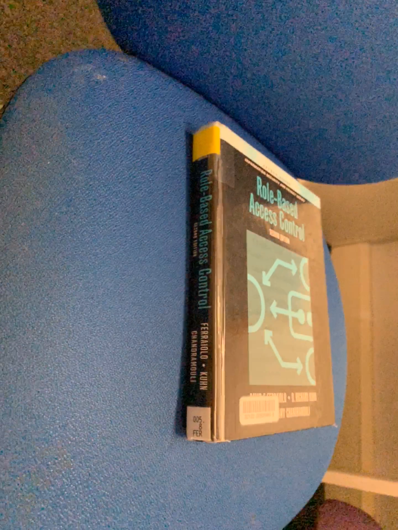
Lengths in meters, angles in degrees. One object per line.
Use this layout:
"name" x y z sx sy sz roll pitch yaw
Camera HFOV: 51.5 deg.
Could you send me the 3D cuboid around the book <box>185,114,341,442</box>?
"book" 0.066 0.019 0.370 0.190 0.030 0.241 20 65 -47
